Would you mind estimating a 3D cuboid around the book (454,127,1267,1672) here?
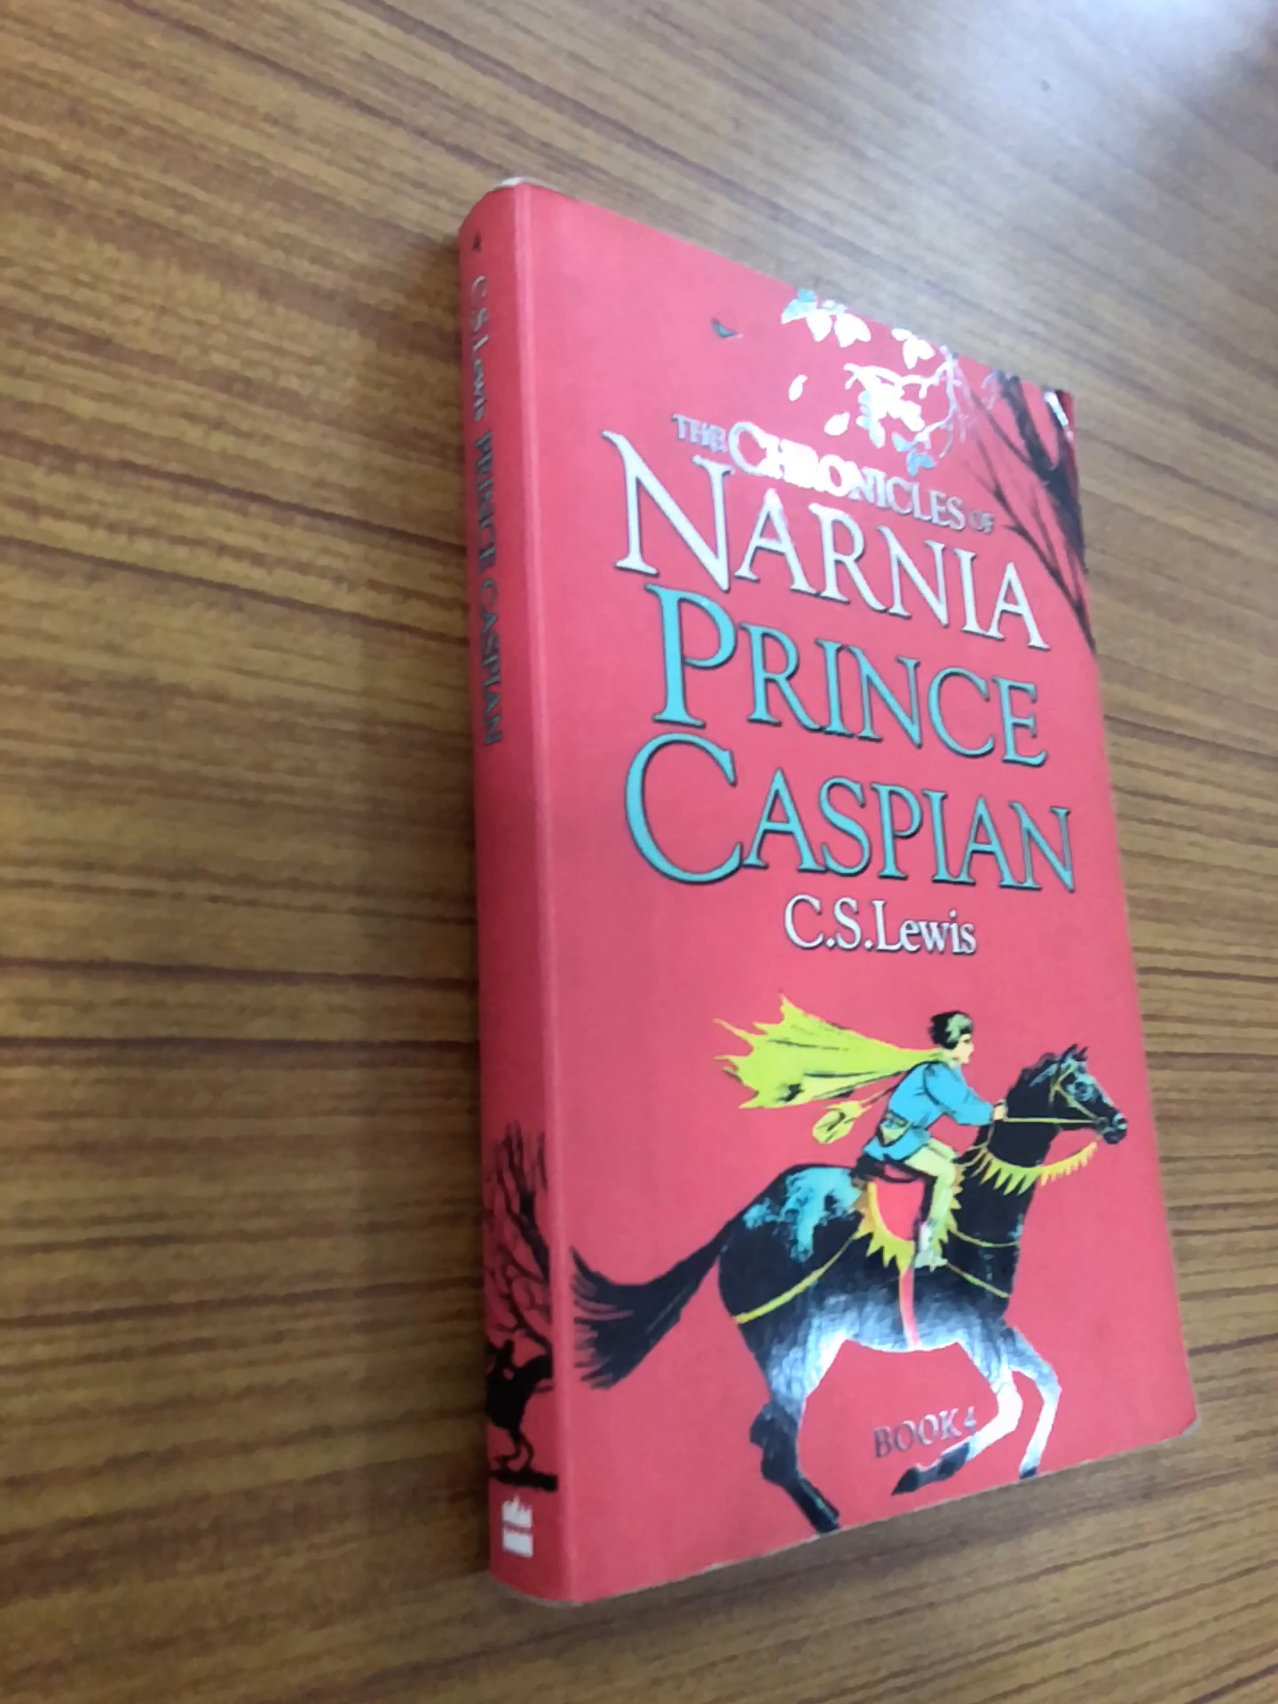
[{"bbox_3d":[0.037,0.004,0.223,0.130,0.030,0.190,6,76,-36],"label":"book"}]
